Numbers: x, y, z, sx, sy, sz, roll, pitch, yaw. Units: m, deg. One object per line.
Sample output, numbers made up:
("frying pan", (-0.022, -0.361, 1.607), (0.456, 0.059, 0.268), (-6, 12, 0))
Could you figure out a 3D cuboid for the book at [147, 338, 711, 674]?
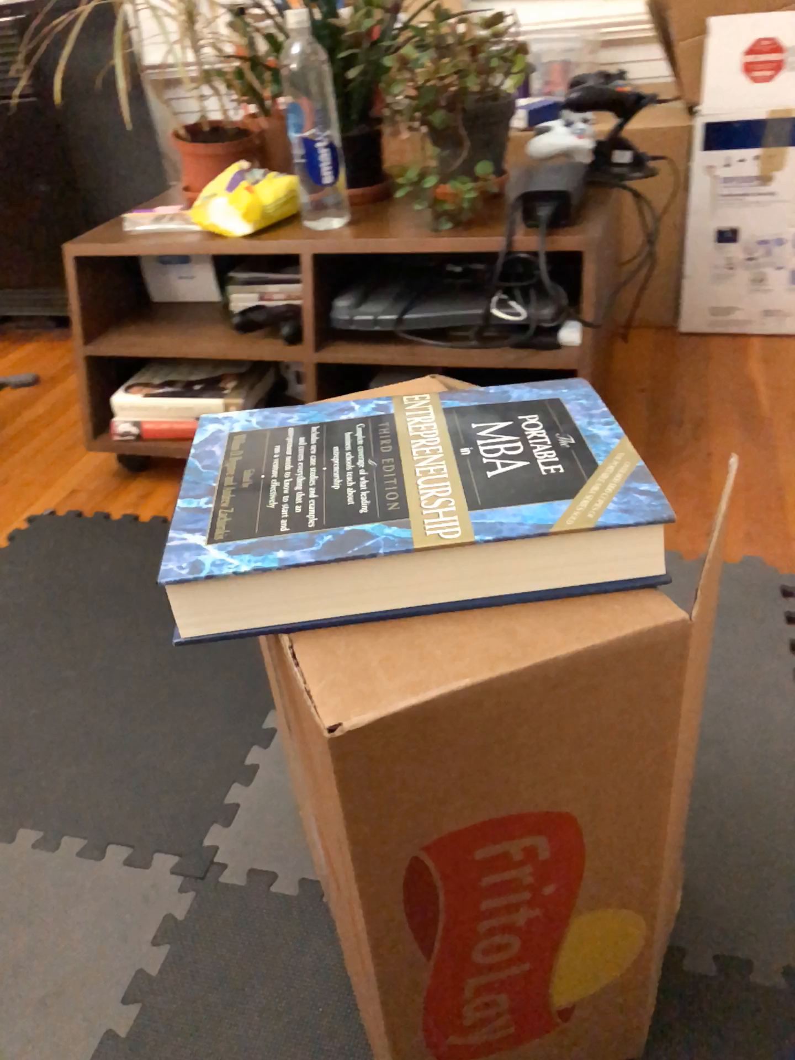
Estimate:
("book", (0.011, -0.028, 0.519), (0.270, 0.060, 0.211), (-8, 33, 1))
